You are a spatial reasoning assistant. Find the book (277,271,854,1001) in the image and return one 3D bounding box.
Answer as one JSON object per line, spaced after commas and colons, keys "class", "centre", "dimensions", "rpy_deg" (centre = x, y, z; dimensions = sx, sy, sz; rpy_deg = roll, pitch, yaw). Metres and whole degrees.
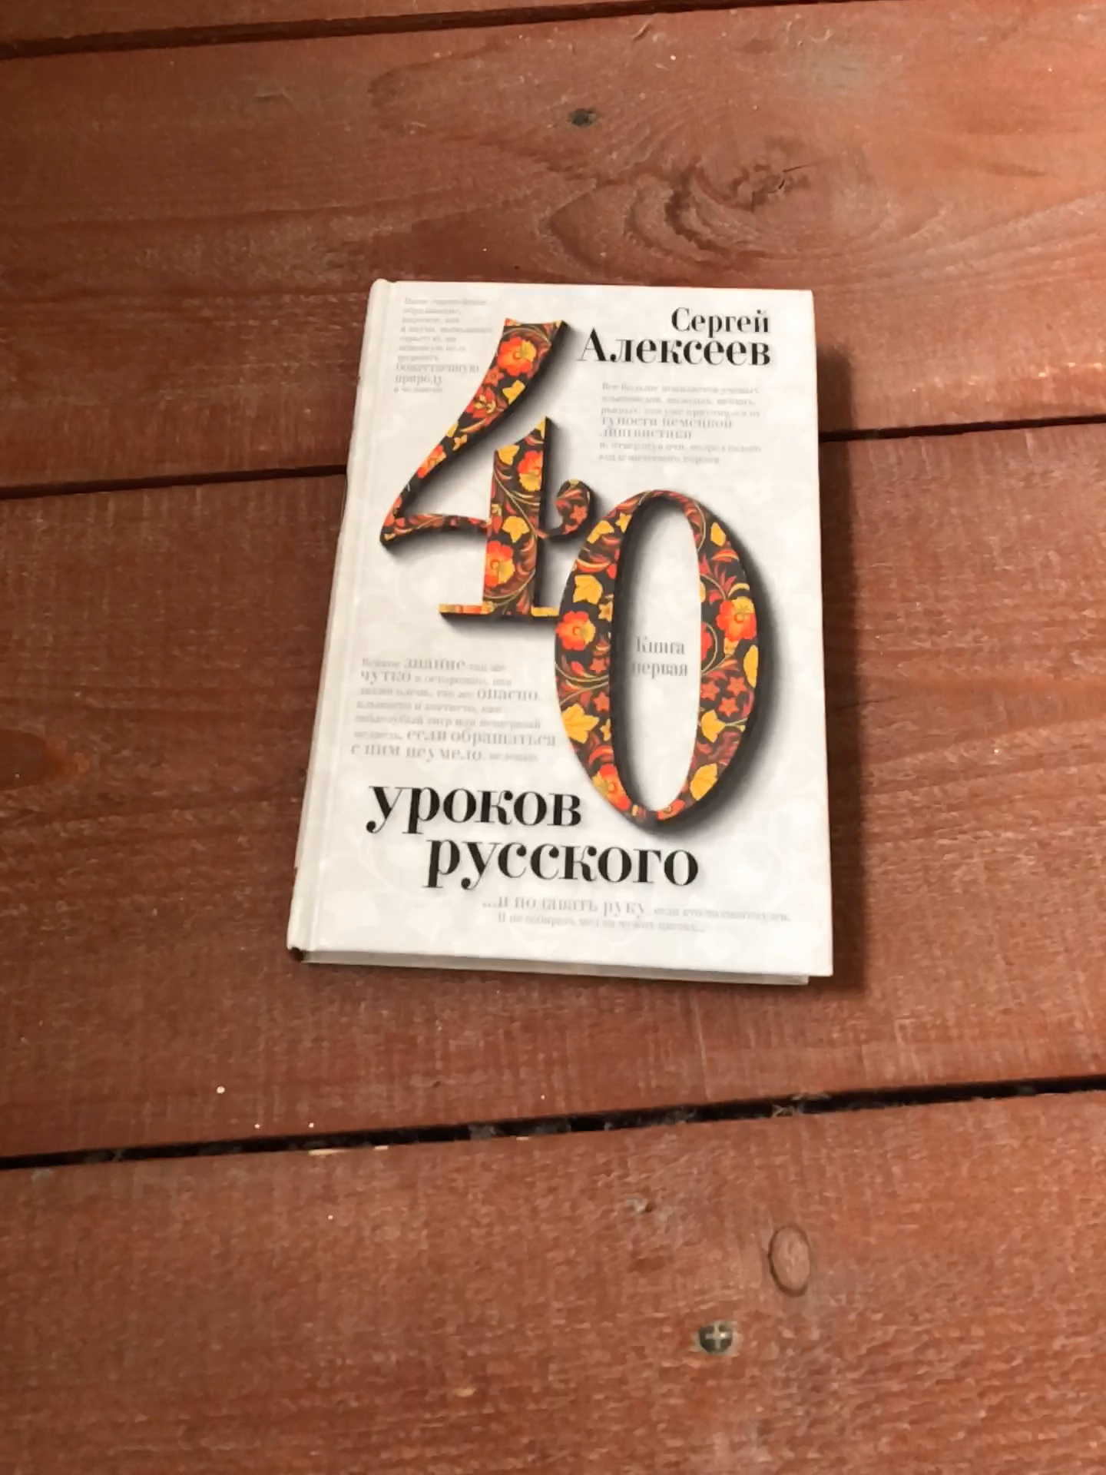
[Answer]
{"class": "book", "centre": [0.007, -0.035, 0.335], "dimensions": [0.135, 0.030, 0.200], "rpy_deg": [2, 69, 2]}
